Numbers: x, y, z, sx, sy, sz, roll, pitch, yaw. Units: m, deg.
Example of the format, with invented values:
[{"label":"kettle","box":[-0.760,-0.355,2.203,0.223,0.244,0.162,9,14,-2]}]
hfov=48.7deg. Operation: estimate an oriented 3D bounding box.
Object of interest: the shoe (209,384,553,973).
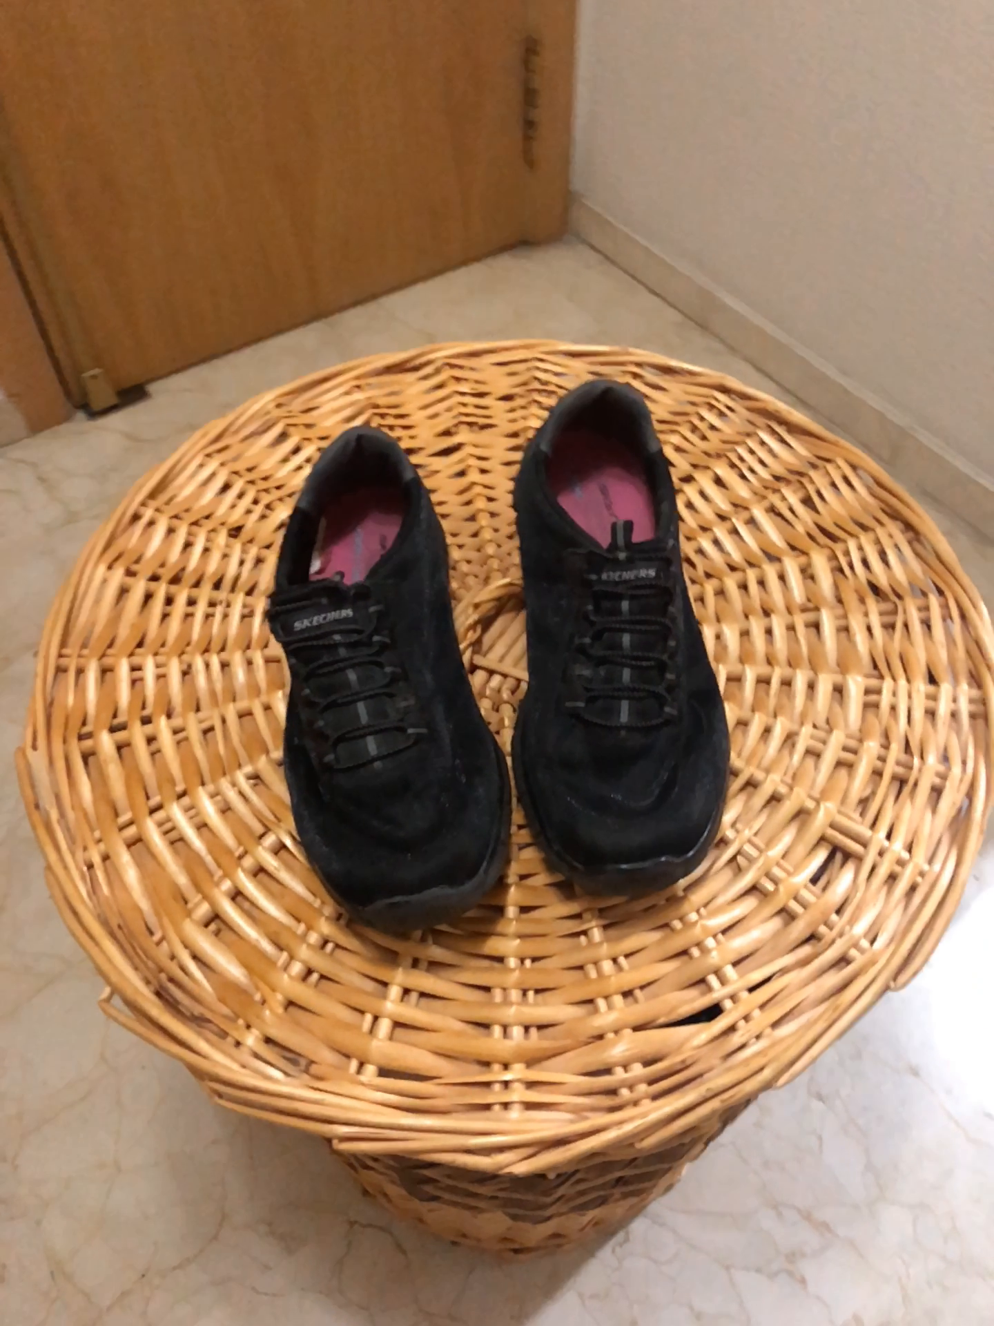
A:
[{"label":"shoe","box":[-0.062,-0.008,0.506,0.117,0.079,0.265,-9,52,-6]}]

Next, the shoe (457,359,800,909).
[{"label":"shoe","box":[0.046,-0.027,0.516,0.117,0.079,0.265,-3,51,-2]}]
